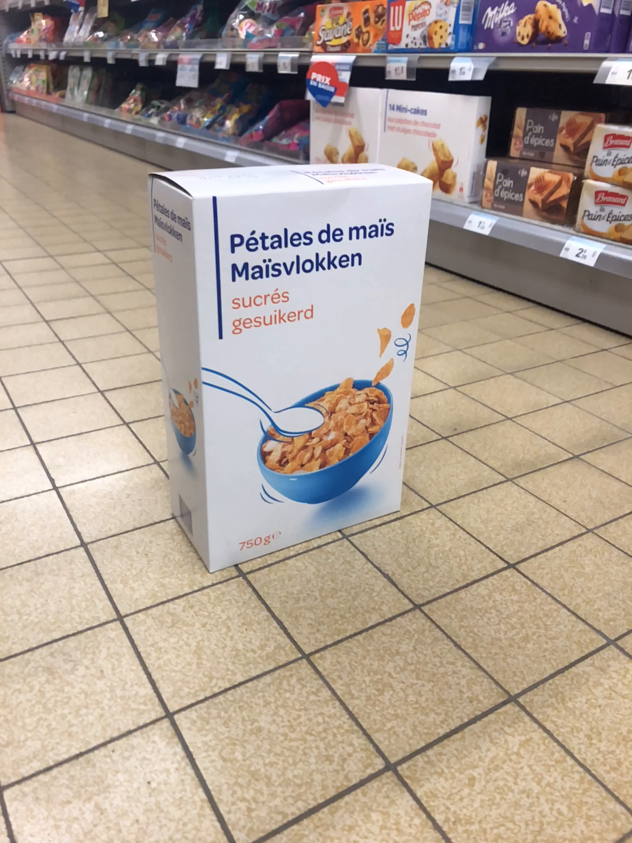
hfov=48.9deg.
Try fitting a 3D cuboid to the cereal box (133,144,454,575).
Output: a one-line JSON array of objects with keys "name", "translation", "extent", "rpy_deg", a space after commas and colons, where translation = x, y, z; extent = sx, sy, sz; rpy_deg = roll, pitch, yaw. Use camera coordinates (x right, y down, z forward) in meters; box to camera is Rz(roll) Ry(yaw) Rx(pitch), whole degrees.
[{"name": "cereal box", "translation": [-0.020, -0.057, 0.560], "extent": [0.201, 0.298, 0.110], "rpy_deg": [-12, 29, -27]}]
